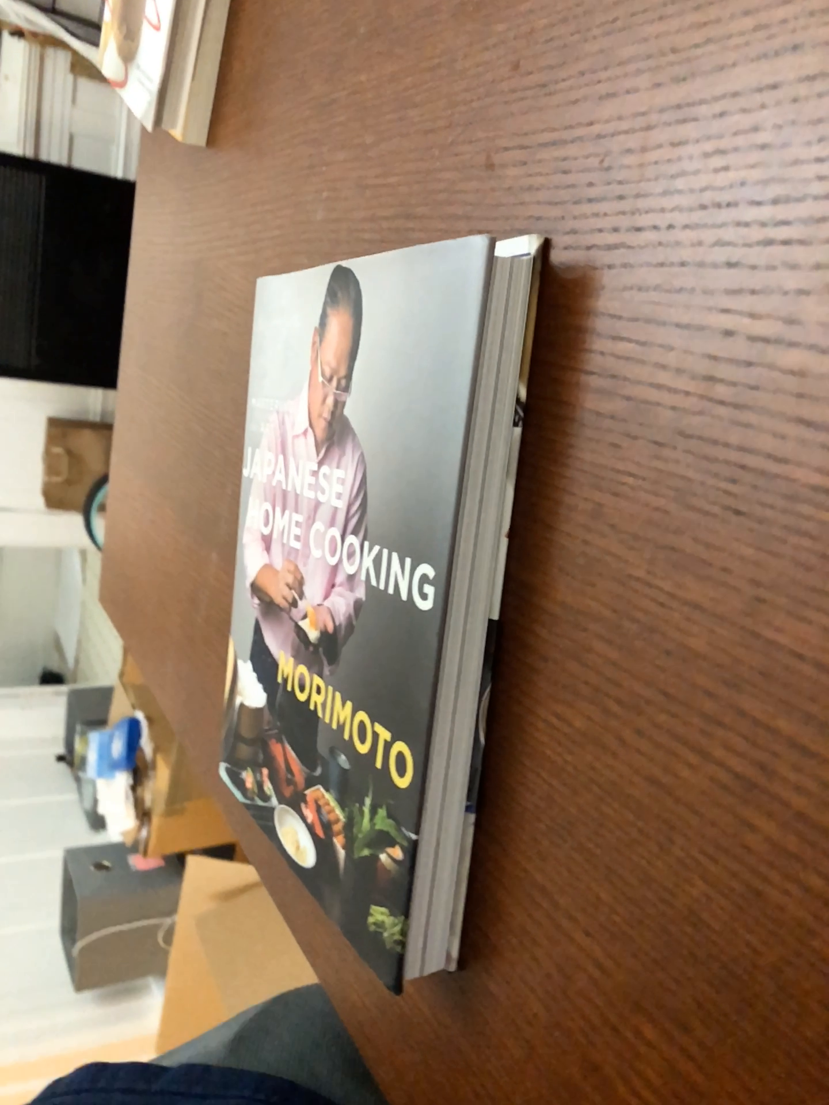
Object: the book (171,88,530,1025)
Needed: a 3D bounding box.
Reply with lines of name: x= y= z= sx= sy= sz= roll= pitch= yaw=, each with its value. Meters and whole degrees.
book: x=-0.048 y=-0.008 z=0.390 sx=0.221 sy=0.030 sz=0.300 roll=21 pitch=106 yaw=59
